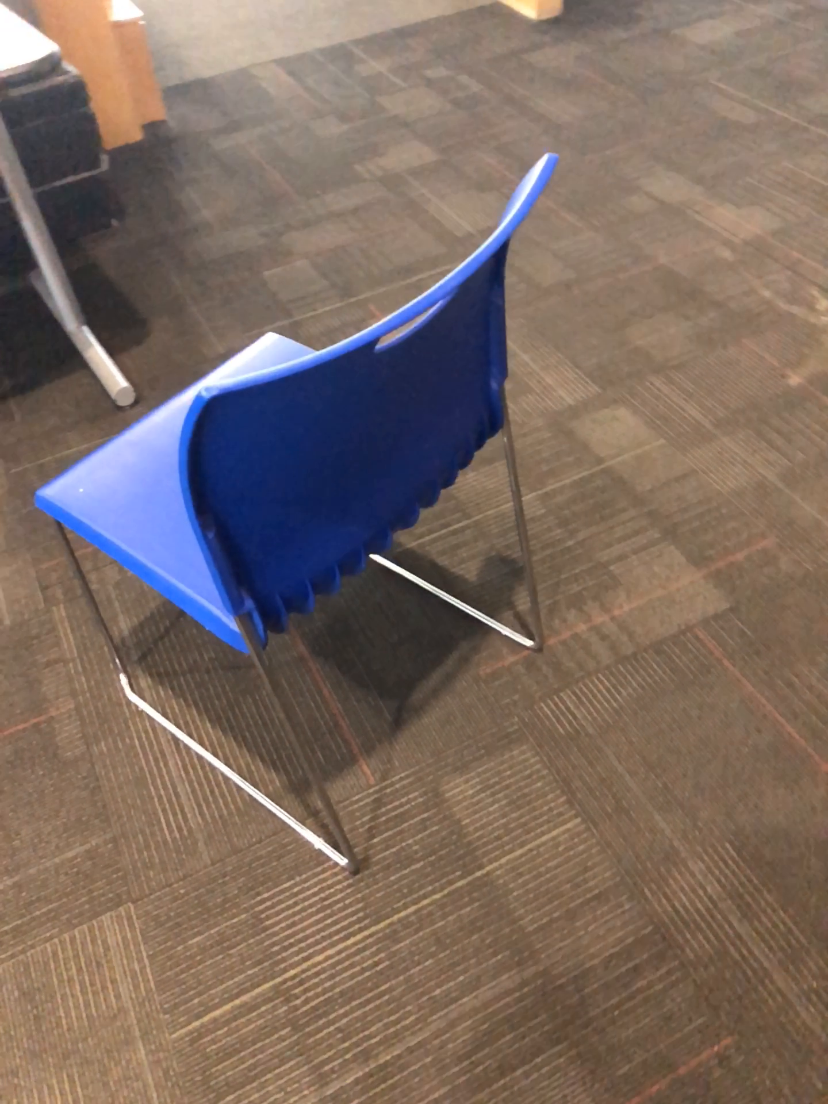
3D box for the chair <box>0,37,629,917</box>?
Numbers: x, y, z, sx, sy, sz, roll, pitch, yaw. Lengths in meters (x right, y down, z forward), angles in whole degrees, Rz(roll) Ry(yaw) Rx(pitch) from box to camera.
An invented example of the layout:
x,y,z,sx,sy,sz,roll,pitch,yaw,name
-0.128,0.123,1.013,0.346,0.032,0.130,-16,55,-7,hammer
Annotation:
x,y,z,sx,sy,sz,roll,pitch,yaw,name
-0.174,-0.103,1.152,0.592,0.757,0.581,28,55,28,chair
